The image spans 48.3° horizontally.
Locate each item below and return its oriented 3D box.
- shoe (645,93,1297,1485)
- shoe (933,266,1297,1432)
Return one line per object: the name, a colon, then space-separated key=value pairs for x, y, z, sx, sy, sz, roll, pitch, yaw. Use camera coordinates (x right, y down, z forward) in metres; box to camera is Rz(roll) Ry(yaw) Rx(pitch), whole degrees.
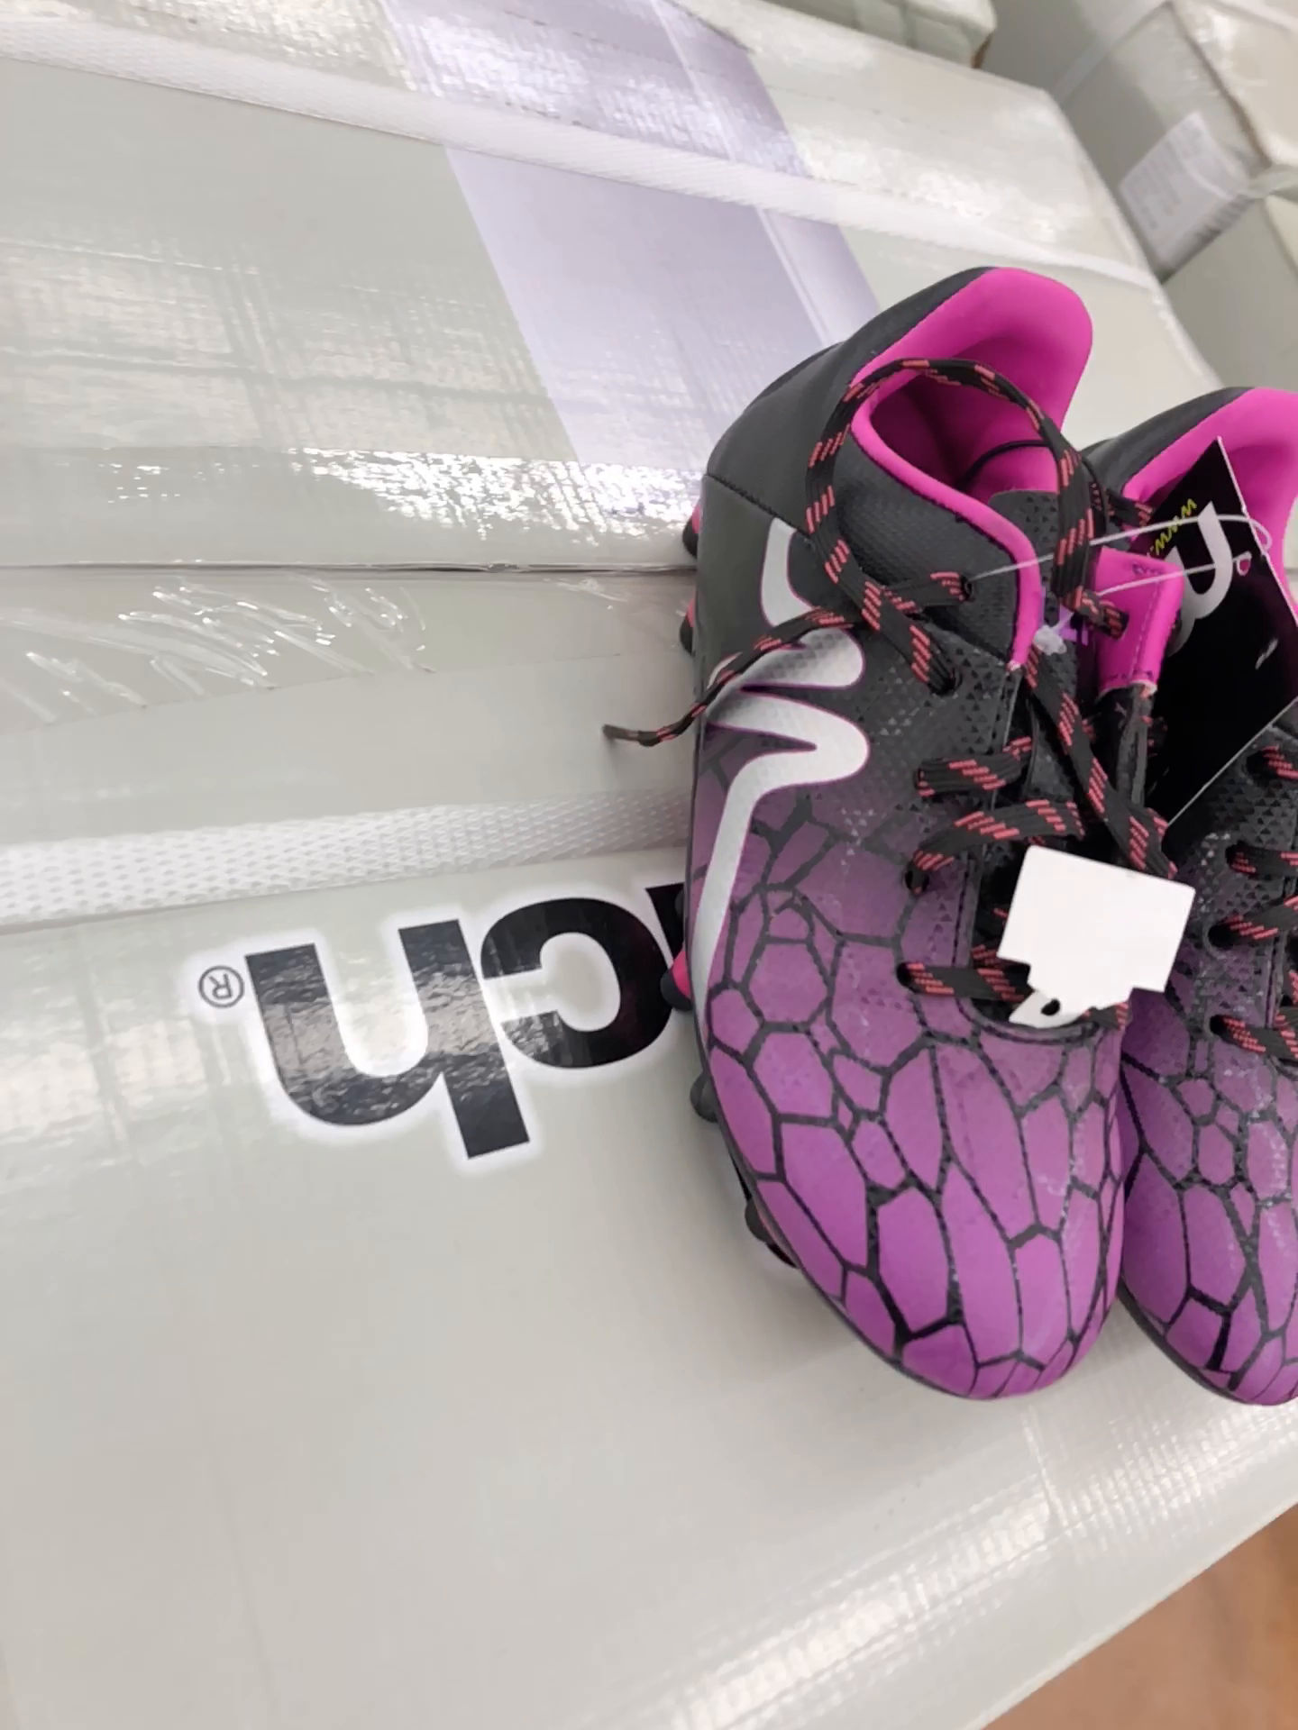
shoe: x=0.062 y=-0.013 z=0.248 sx=0.080 sy=0.080 sz=0.210 roll=11 pitch=60 yaw=-29
shoe: x=0.133 y=-0.003 z=0.295 sx=0.080 sy=0.080 sz=0.210 roll=9 pitch=61 yaw=-30
